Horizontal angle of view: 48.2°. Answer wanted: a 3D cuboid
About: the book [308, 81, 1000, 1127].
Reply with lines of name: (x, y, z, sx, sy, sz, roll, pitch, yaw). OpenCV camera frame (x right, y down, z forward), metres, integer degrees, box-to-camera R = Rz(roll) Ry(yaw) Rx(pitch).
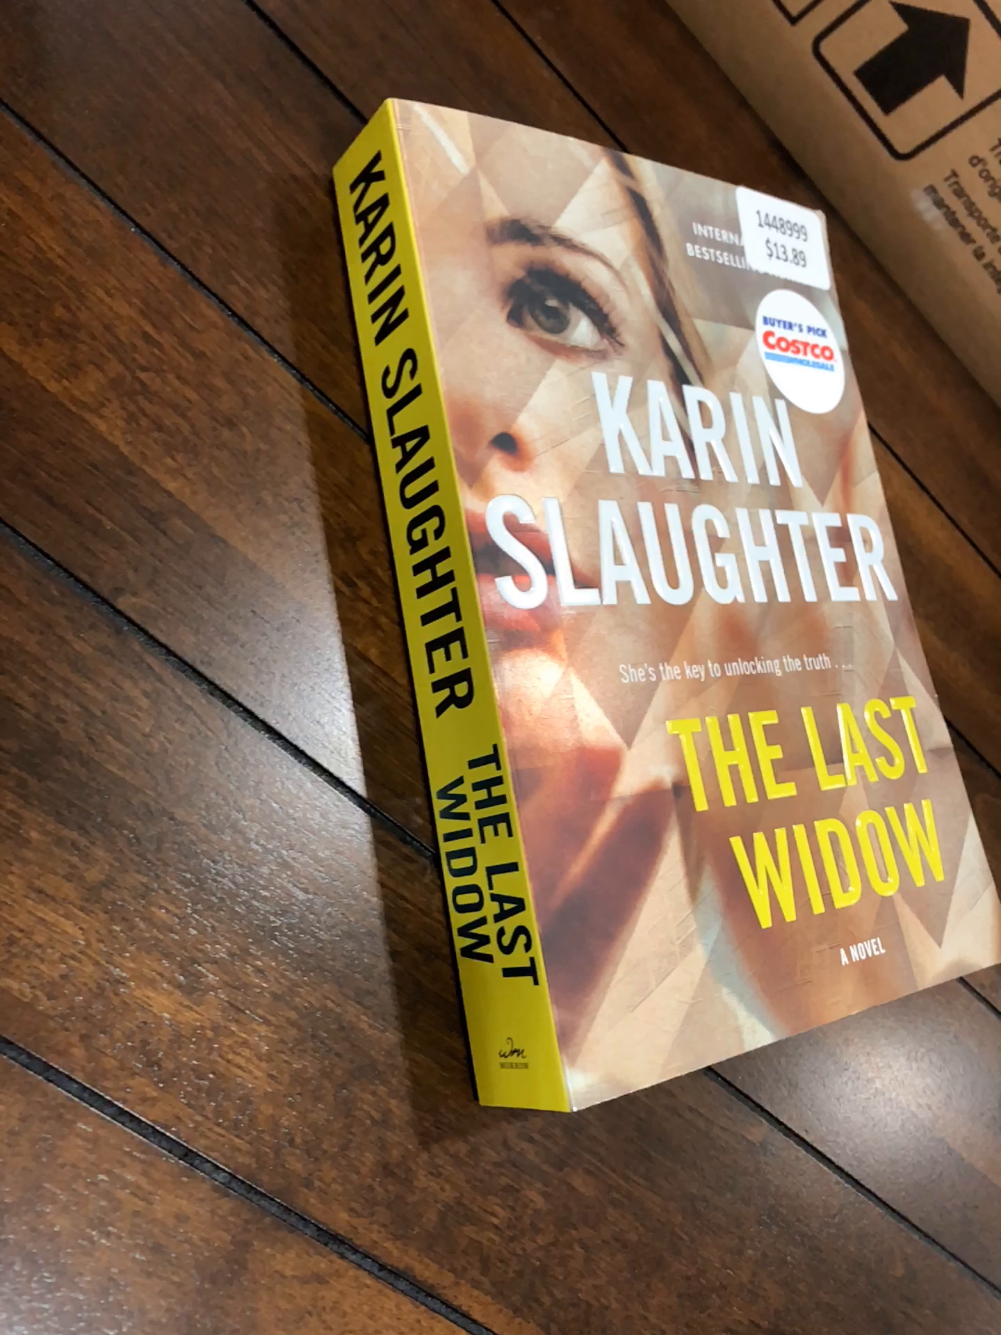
book: (0.045, -0.021, 0.296, 0.155, 0.042, 0.230, -3, 78, -34)
